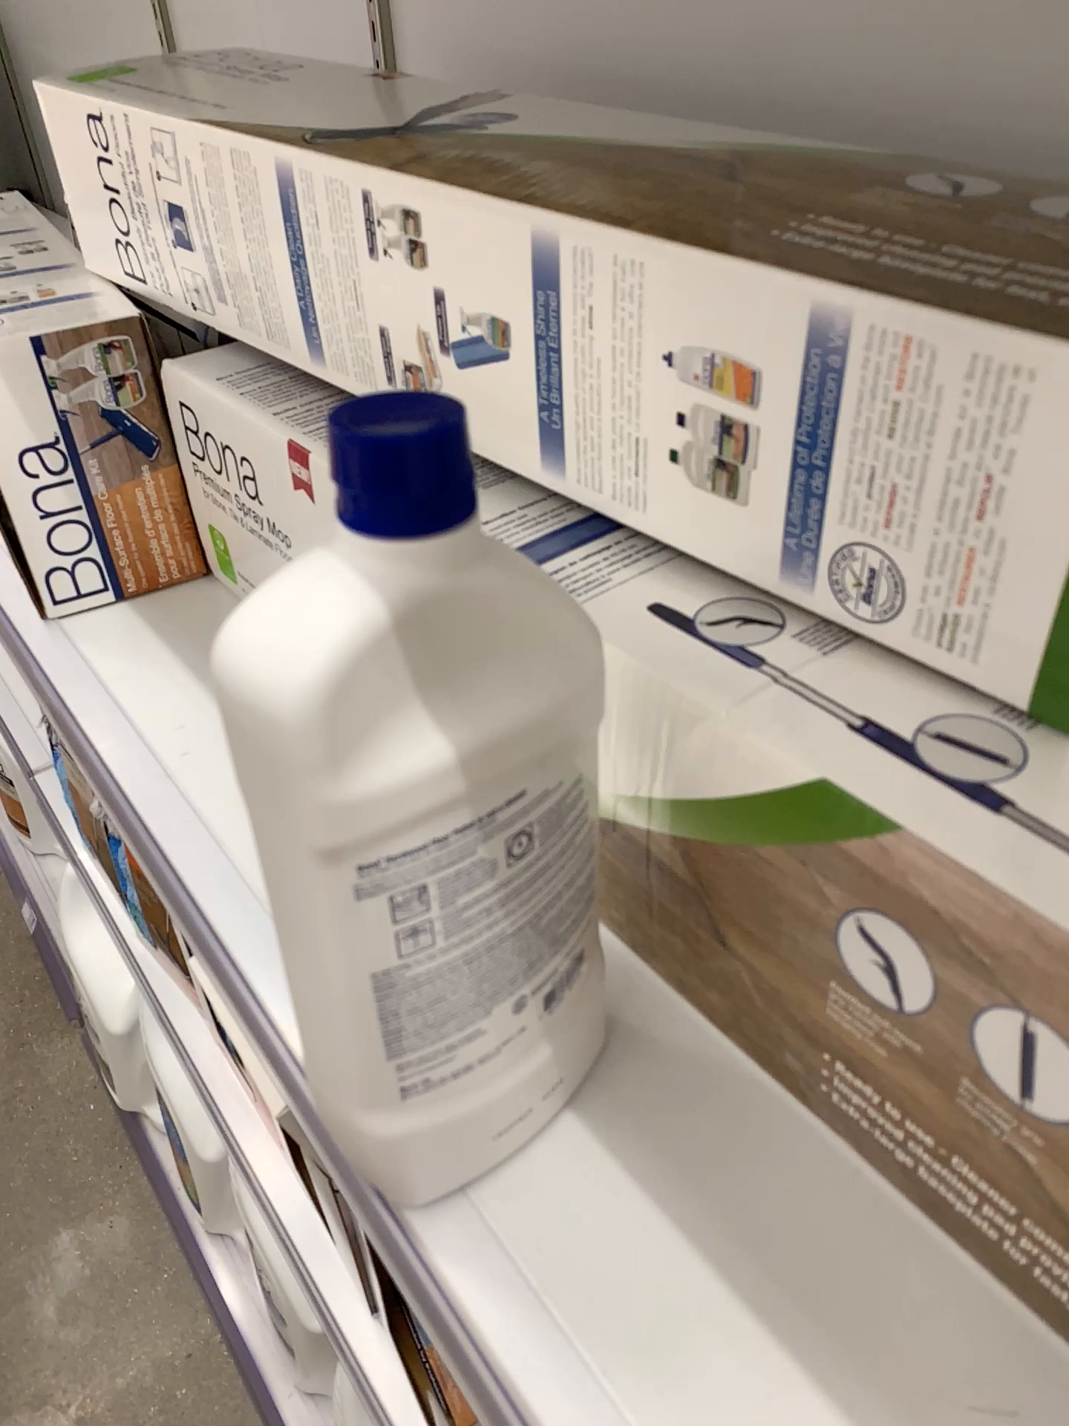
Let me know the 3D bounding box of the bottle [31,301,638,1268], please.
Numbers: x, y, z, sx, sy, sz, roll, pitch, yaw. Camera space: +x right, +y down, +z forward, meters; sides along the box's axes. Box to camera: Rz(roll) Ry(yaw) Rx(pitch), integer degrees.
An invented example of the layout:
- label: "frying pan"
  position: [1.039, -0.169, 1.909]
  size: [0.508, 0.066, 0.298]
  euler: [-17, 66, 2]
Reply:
- label: "bottle"
  position: [-0.037, 0.030, 0.324]
  size: [0.070, 0.259, 0.120]
  euler: [28, 46, 36]
